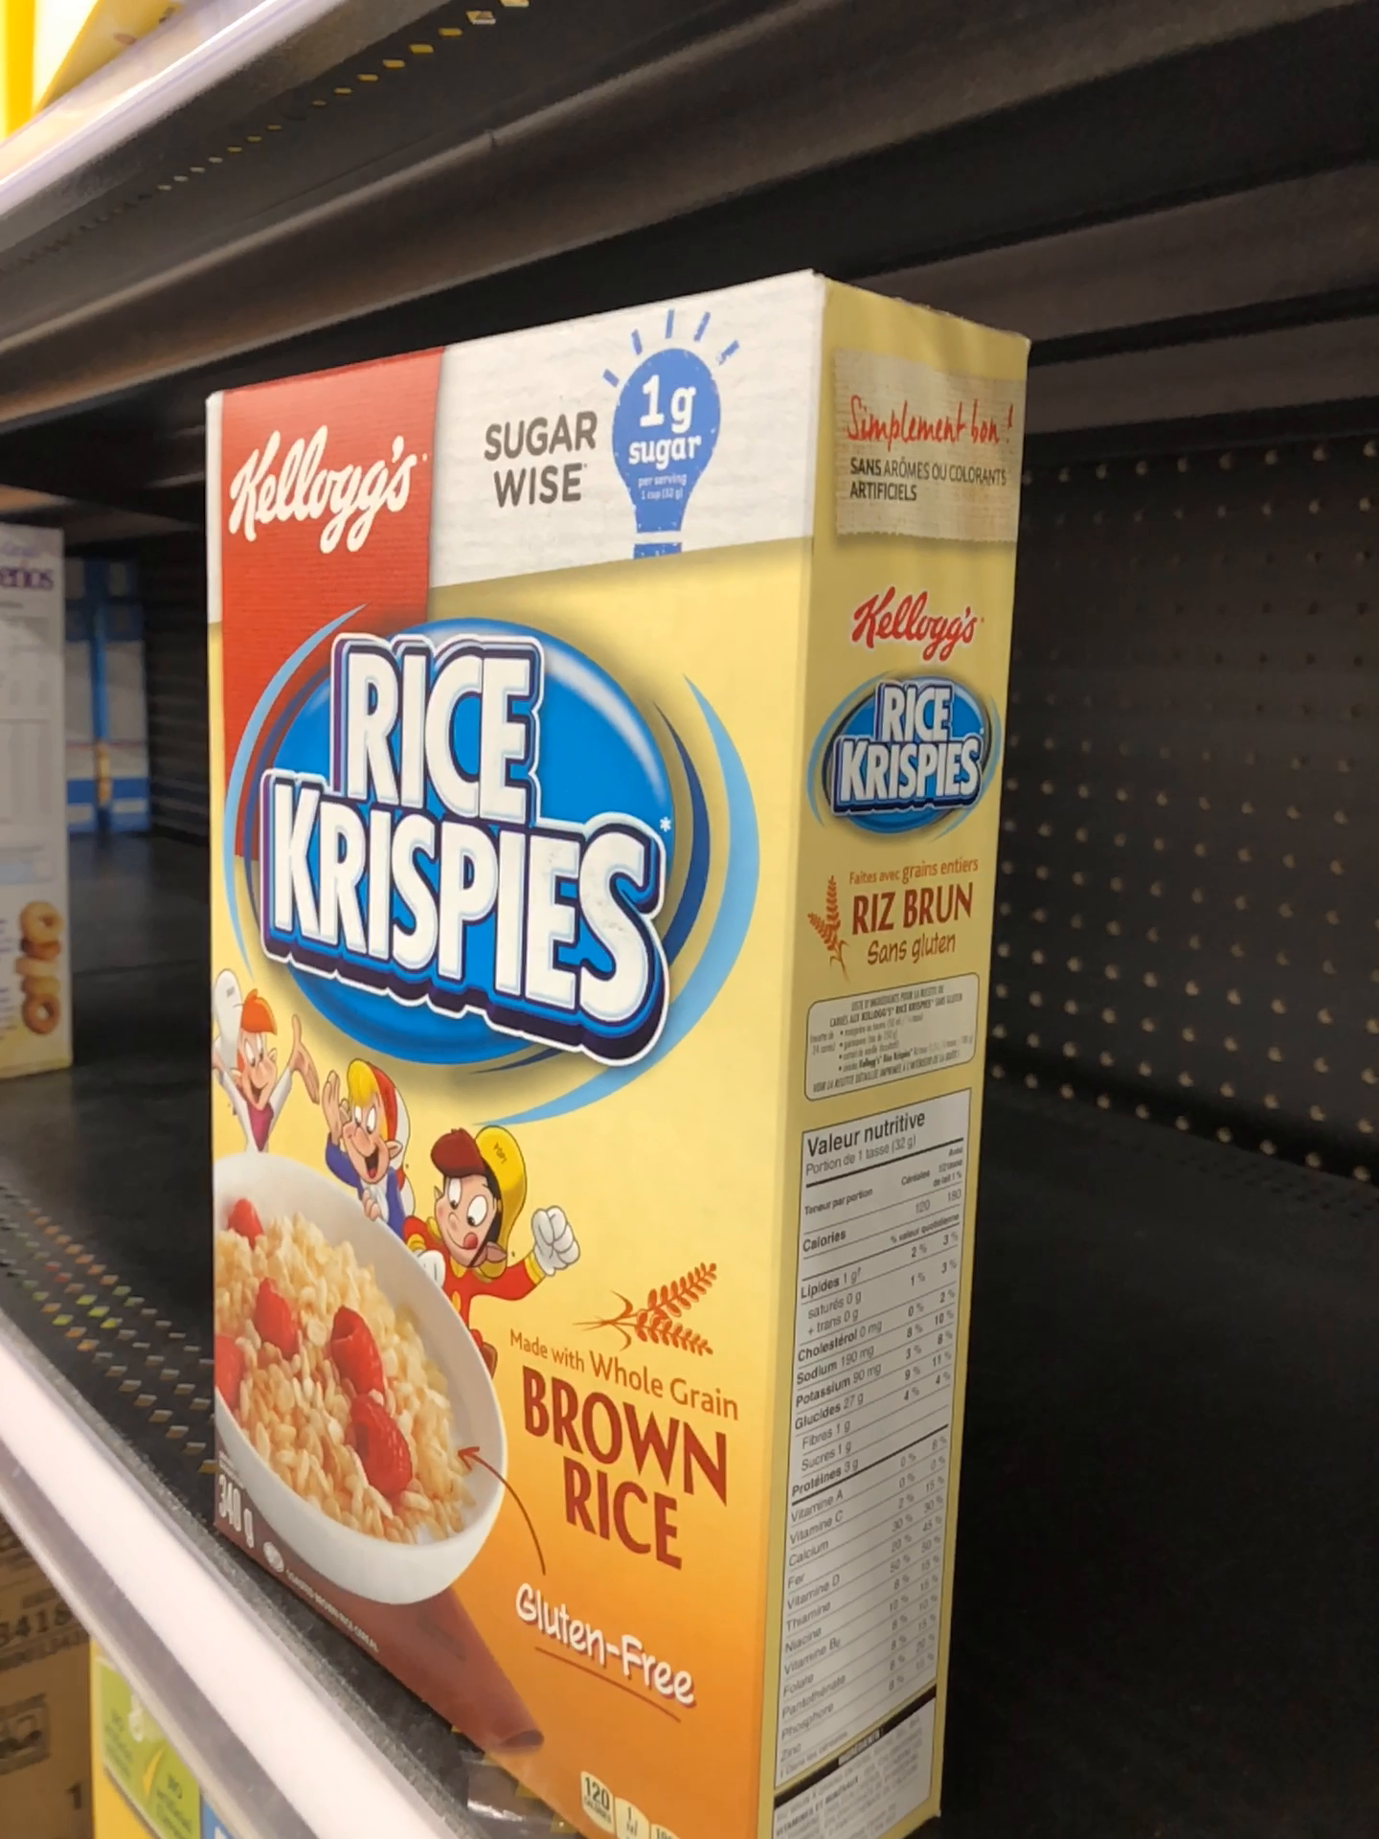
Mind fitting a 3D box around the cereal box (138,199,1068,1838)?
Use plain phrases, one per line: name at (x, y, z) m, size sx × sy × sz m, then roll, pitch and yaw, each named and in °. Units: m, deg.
cereal box at (-0.036, 0.027, 0.325) m, size 0.060 × 0.289 × 0.210 m, roll -7°, pitch 12°, yaw -44°
